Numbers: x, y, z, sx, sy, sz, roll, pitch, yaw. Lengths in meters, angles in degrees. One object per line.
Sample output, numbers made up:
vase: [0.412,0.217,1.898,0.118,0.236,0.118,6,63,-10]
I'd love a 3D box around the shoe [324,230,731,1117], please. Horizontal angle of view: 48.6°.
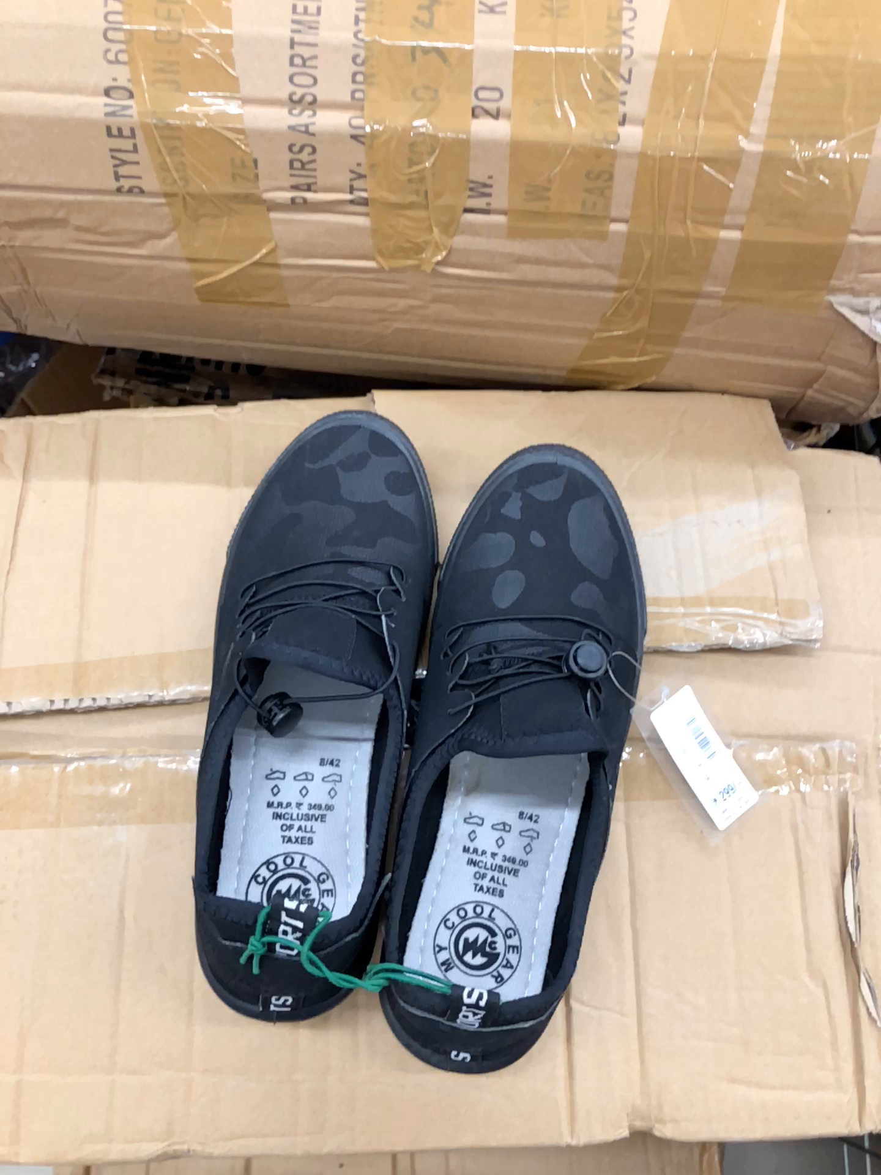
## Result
shoe: [0.041,0.028,0.417,0.120,0.130,0.321,7,70,0]

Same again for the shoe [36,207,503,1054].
shoe: [-0.052,0.014,0.416,0.120,0.130,0.311,6,70,0]
